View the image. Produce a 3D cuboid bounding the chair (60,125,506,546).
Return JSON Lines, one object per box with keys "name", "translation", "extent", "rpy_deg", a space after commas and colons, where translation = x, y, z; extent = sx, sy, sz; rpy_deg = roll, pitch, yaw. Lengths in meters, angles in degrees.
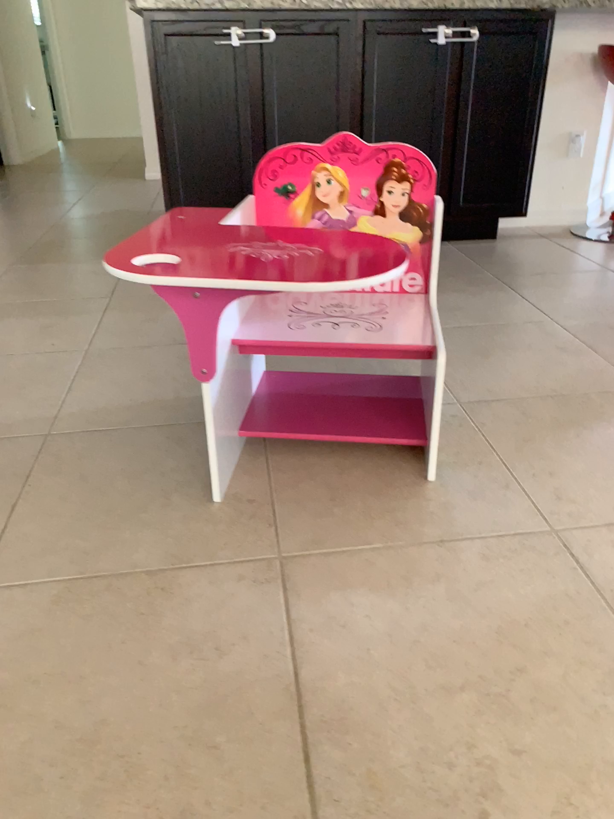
{"name": "chair", "translation": [-0.013, -0.176, 1.116], "extent": [0.531, 0.566, 0.554], "rpy_deg": [2, 27, 4]}
